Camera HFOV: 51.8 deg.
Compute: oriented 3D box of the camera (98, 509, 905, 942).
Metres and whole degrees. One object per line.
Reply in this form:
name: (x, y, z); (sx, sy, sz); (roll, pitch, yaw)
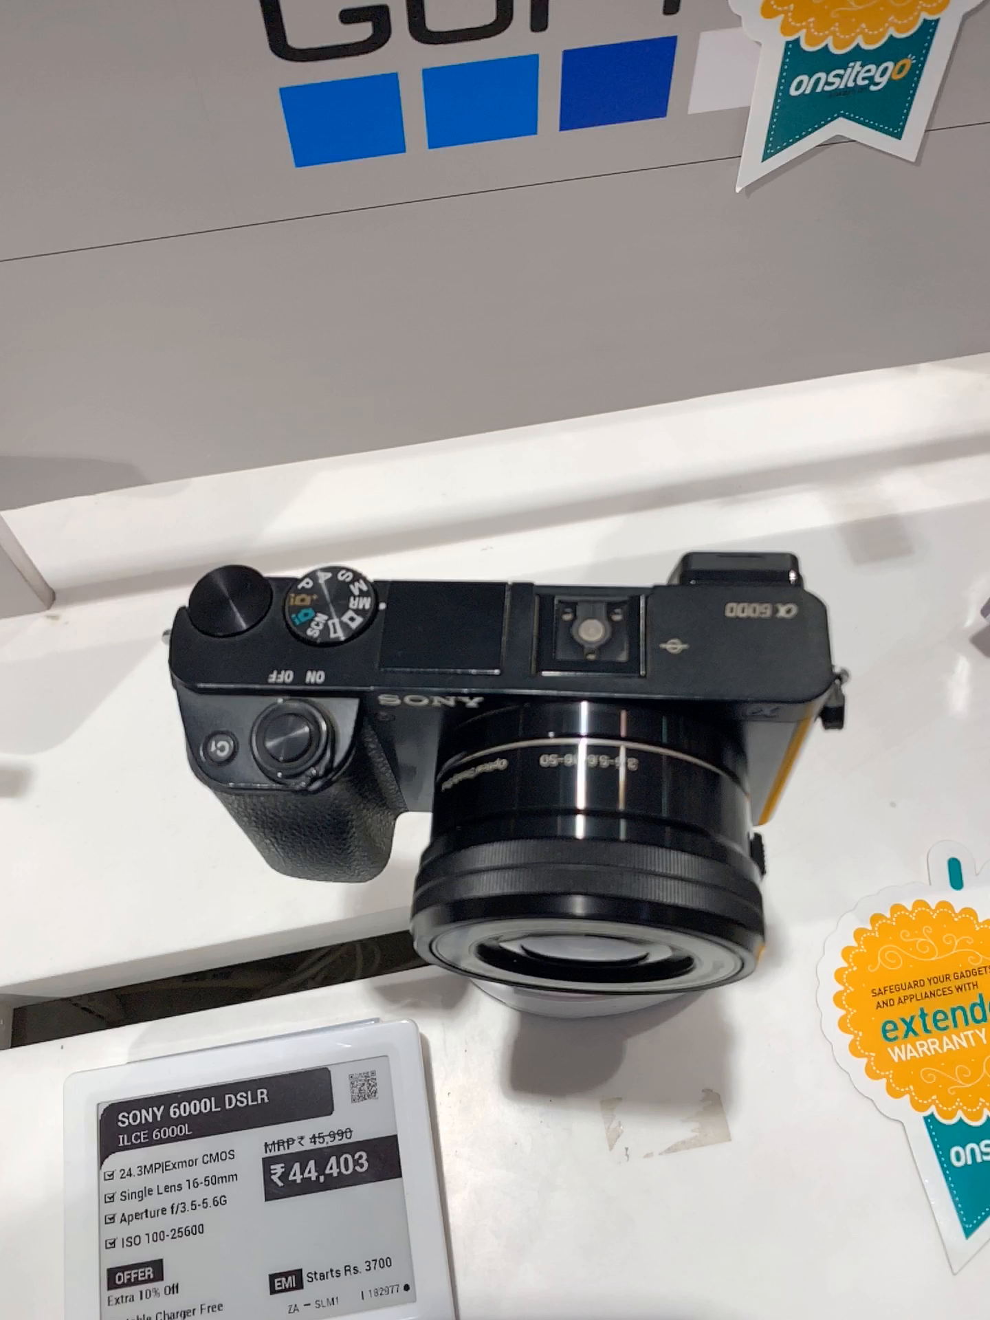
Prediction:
camera: (0.001, 0.019, 0.203); (0.120, 0.090, 0.050); (-1, 61, 1)
